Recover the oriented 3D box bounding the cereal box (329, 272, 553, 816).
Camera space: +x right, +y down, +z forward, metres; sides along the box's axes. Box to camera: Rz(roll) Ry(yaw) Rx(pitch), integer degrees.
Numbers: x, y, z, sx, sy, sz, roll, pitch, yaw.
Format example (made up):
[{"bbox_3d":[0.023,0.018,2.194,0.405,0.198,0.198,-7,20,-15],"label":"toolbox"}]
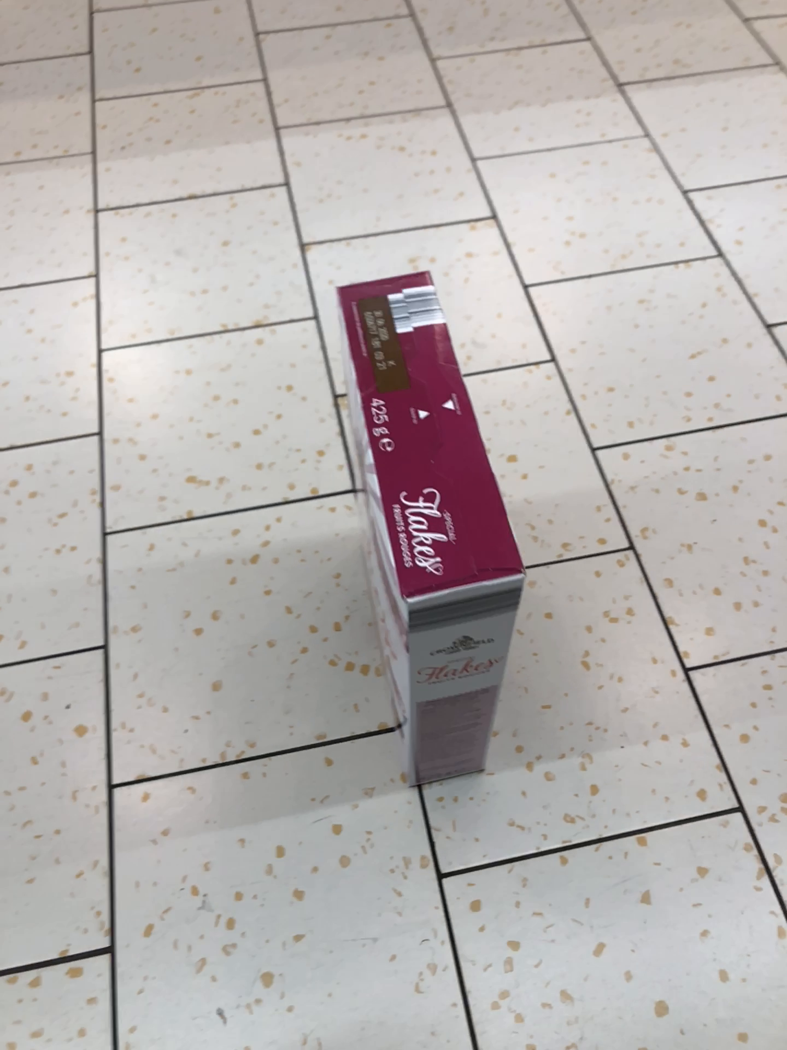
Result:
[{"bbox_3d":[0.017,0.027,0.501,0.060,0.259,0.201,-9,57,-5],"label":"cereal box"}]
